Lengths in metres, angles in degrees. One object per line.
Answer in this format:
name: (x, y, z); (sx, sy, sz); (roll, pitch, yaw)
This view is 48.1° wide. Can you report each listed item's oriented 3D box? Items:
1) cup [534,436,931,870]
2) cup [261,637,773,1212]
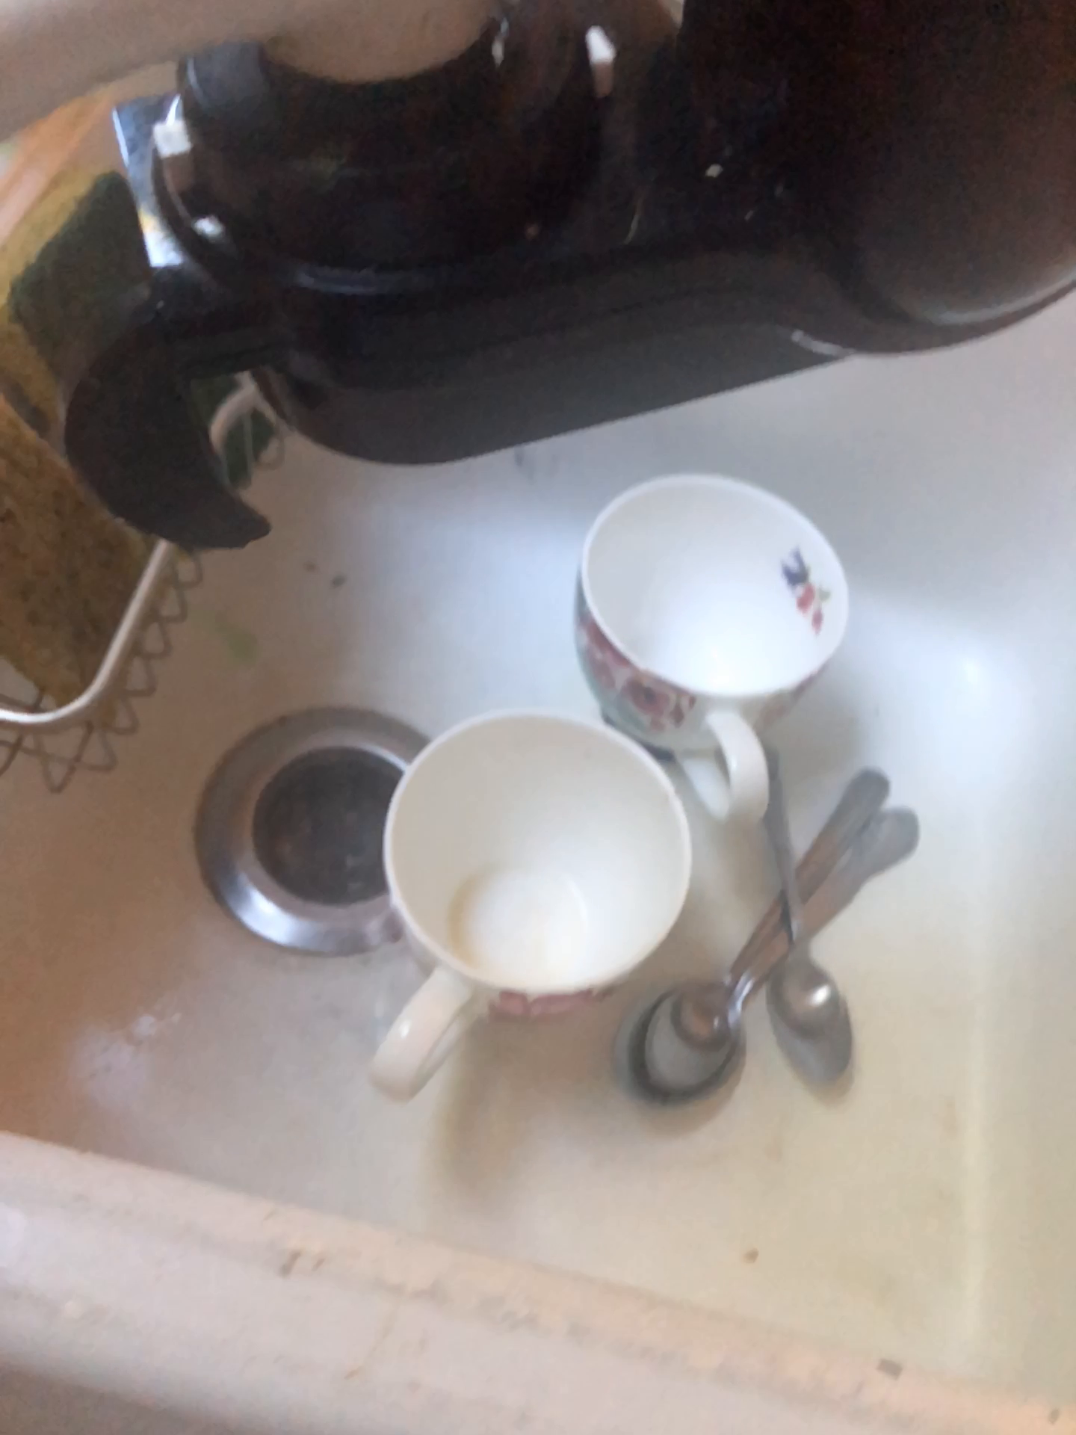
cup: (0.066, -0.028, 0.465); (0.110, 0.070, 0.151); (-2, 59, -10)
cup: (-0.005, 0.065, 0.396); (0.100, 0.070, 0.141); (29, 59, 9)
